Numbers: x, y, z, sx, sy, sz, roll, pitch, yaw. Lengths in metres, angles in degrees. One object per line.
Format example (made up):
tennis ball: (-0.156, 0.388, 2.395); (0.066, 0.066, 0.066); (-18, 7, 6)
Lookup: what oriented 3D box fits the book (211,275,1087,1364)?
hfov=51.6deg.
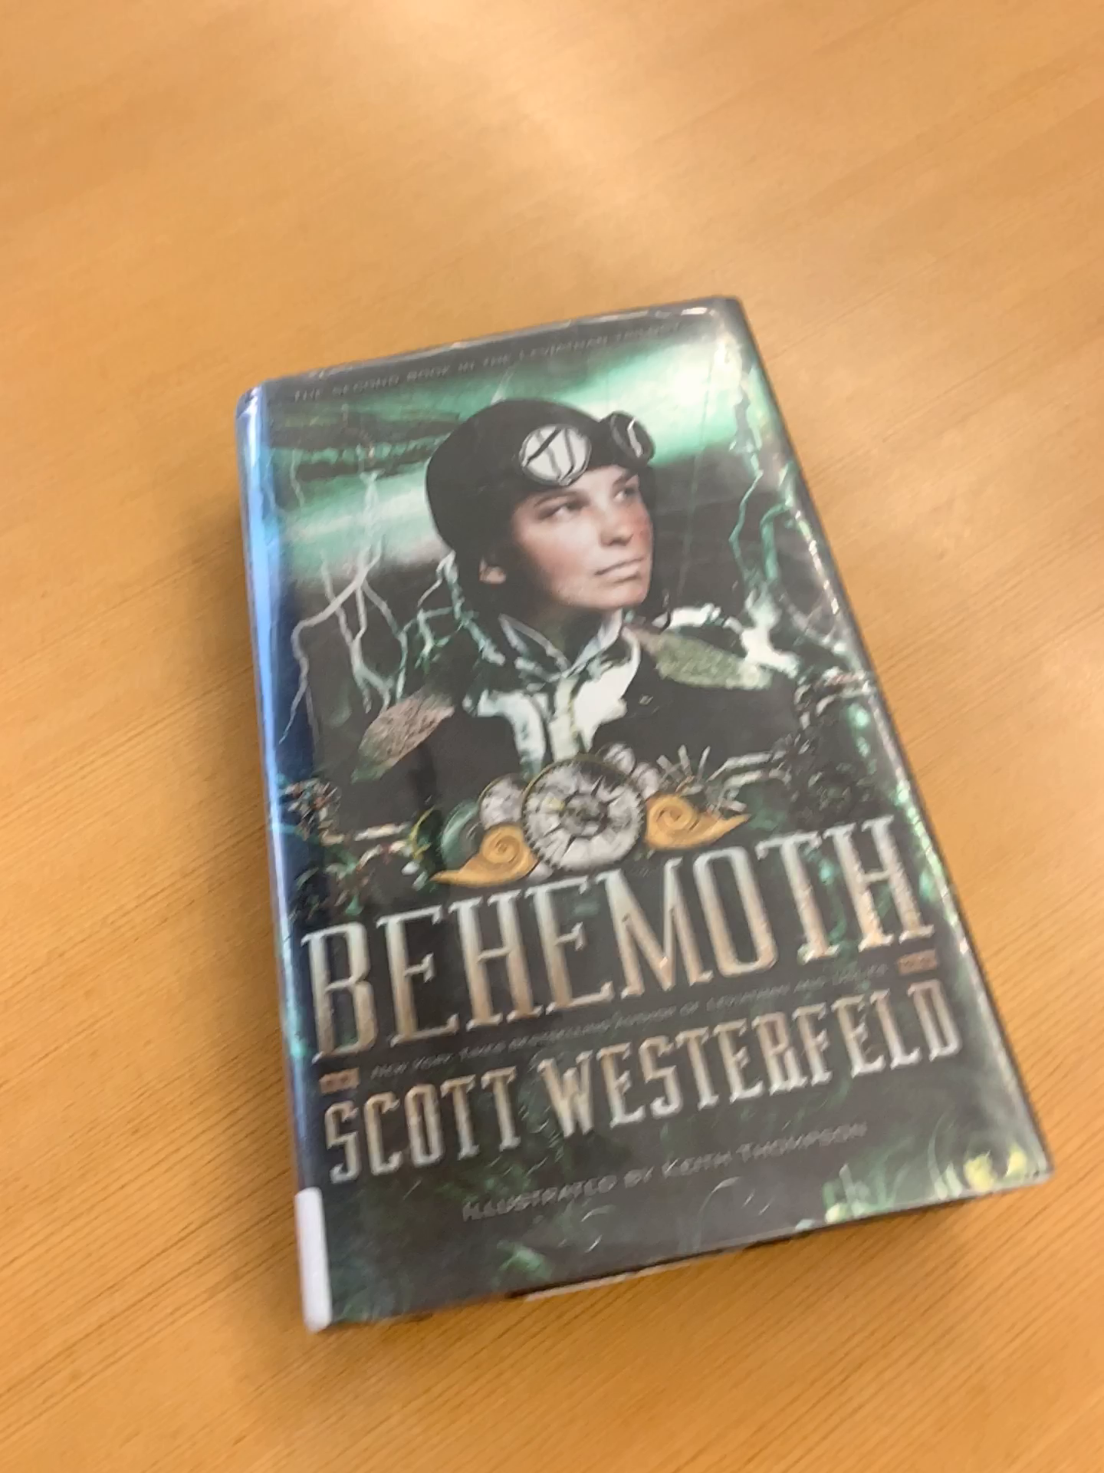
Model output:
book: (0.004, 0.004, 0.285); (0.150, 0.050, 0.241); (-12, 64, -1)
